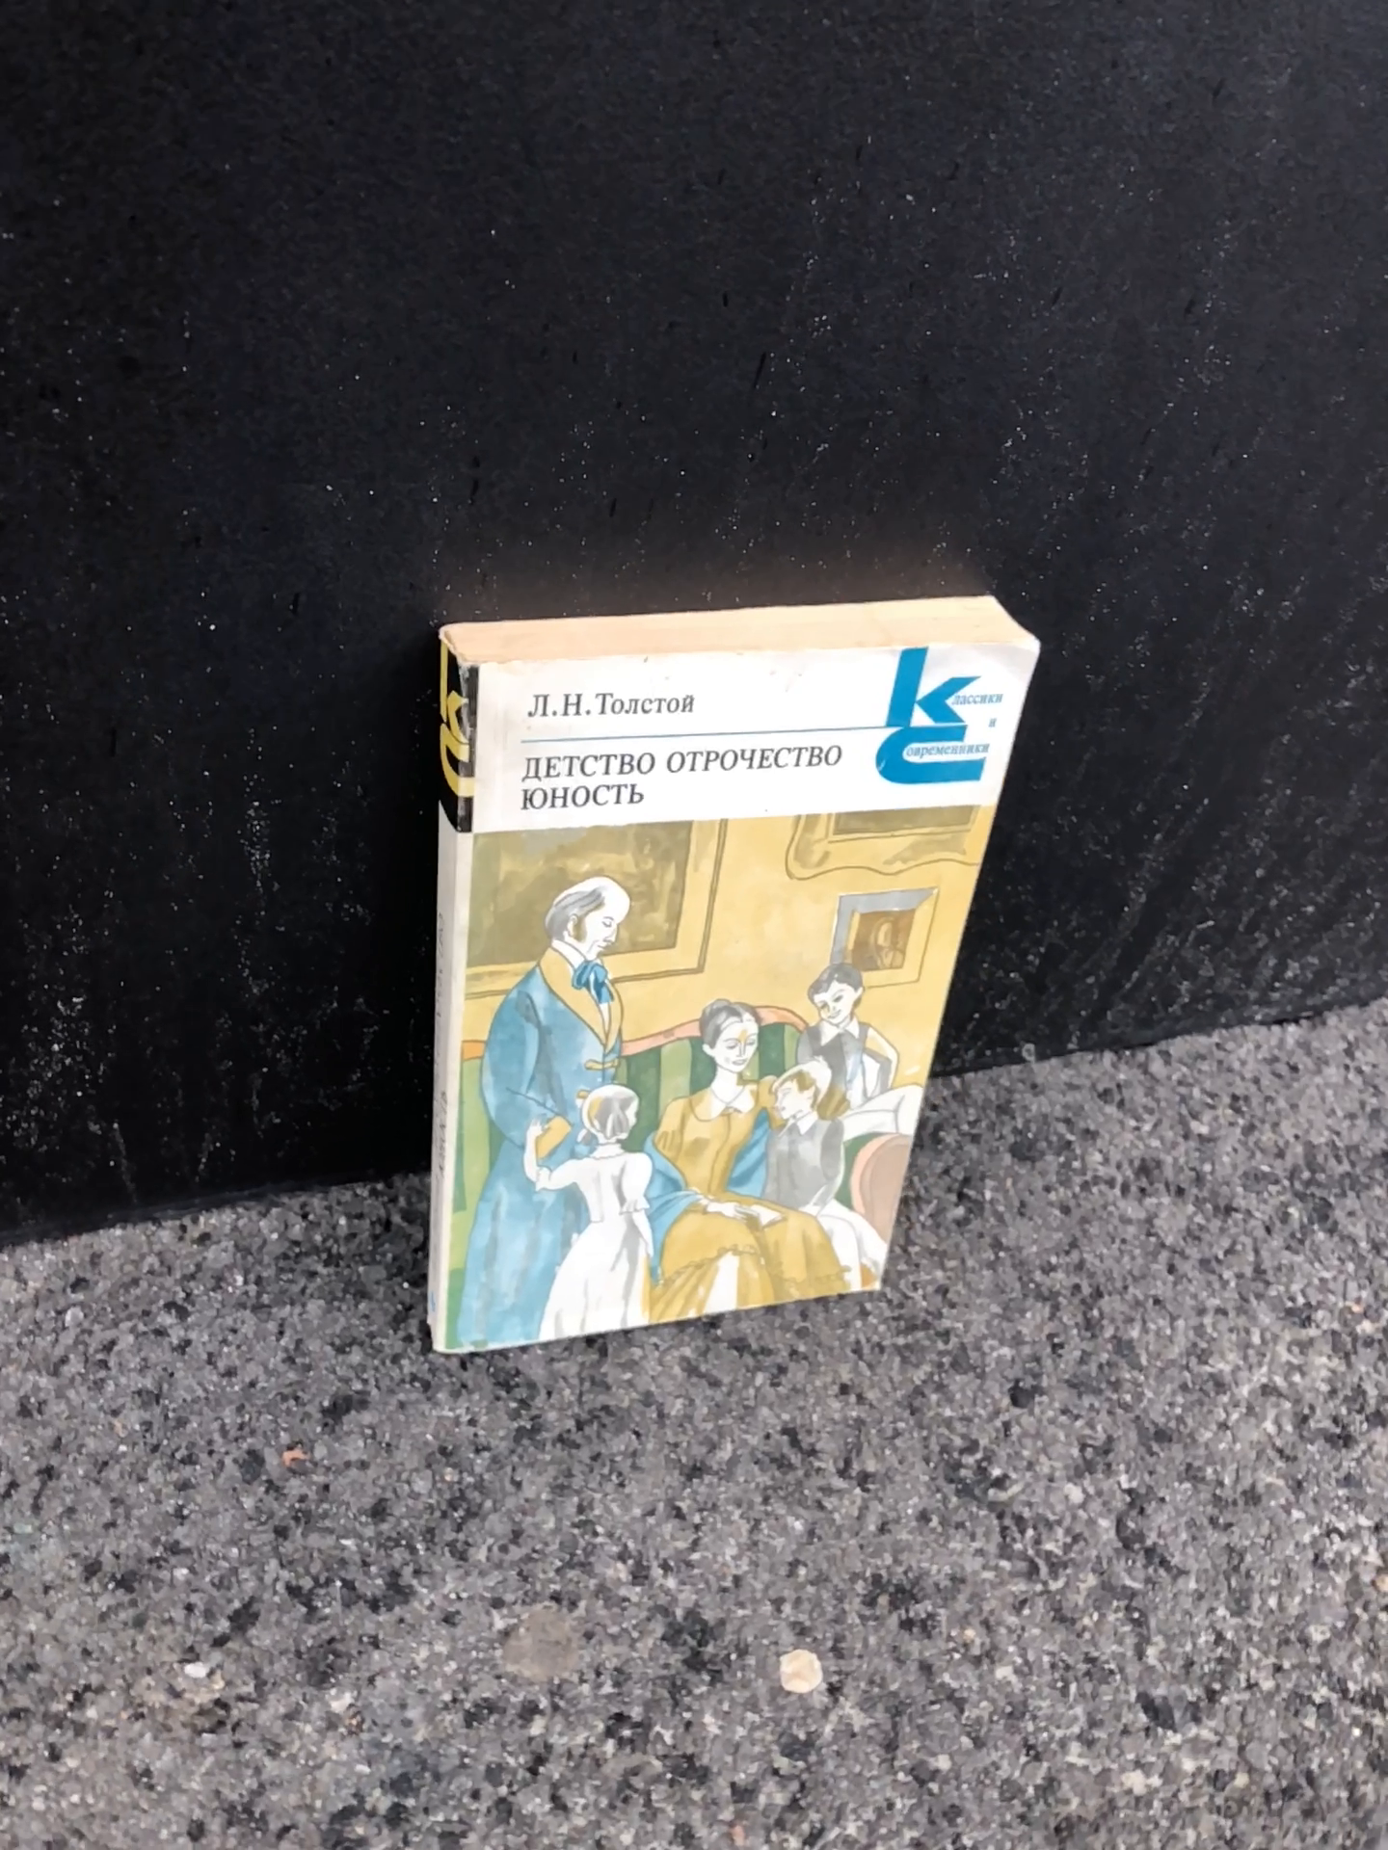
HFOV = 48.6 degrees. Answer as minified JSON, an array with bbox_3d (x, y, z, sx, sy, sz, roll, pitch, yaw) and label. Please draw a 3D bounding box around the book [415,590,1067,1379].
[{"bbox_3d":[0.002,0.018,0.346,0.120,0.184,0.030,-5,35,-19],"label":"book"}]
